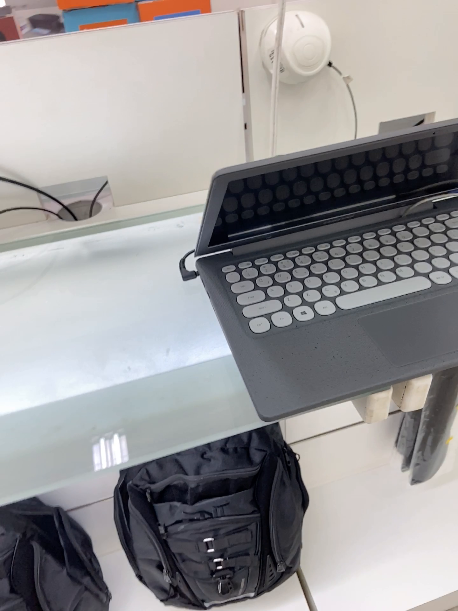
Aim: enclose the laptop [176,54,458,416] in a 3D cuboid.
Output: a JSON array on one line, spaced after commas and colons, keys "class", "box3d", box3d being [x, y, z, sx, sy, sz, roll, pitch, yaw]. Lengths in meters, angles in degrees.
[{"class": "laptop", "box3d": [0.139, -0.081, 0.394, 0.311, 0.153, 0.209, -14, 40, -10]}]
